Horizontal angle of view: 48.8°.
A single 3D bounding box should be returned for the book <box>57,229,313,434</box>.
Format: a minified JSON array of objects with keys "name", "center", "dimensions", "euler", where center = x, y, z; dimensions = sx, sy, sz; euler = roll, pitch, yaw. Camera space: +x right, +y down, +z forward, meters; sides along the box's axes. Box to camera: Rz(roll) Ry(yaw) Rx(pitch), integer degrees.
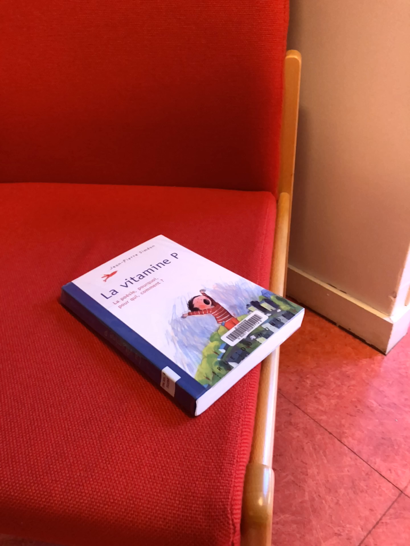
[{"name":"book","center":[-0.026,0.038,0.454],"dimensions":[0.148,0.027,0.215],"euler":[-34,48,-31]}]
